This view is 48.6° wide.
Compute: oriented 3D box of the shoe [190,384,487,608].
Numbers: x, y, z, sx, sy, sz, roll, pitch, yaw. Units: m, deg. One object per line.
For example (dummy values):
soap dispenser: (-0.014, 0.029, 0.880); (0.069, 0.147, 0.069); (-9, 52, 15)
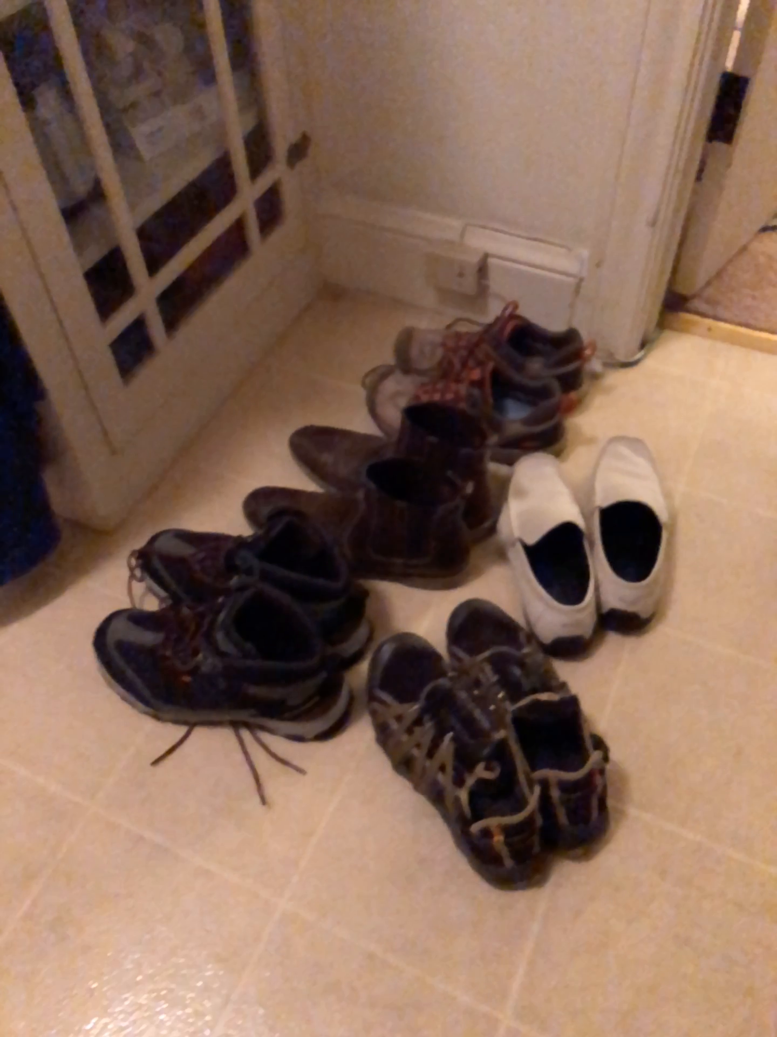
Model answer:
shoe: (-0.054, -0.027, 1.060); (0.323, 0.192, 0.111); (13, 52, 13)

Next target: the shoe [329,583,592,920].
shoe: (0.061, 0.227, 0.878); (0.110, 0.123, 0.294); (-25, 53, -18)

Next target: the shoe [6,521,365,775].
shoe: (-0.201, 0.138, 0.915); (0.323, 0.192, 0.111); (12, 52, 12)

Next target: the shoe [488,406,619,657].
shoe: (0.193, 0.008, 1.062); (0.110, 0.113, 0.305); (-1, 50, 1)

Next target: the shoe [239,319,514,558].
shoe: (-0.015, -0.105, 1.122); (0.323, 0.192, 0.111); (22, 54, 20)

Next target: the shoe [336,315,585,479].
shoe: (0.096, -0.171, 1.190); (0.313, 0.113, 0.111); (16, 52, 15)

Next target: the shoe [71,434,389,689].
shoe: (-0.172, 0.049, 0.997); (0.323, 0.192, 0.111); (17, 53, 16)

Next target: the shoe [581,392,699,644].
shoe: (0.307, -0.009, 1.074); (0.110, 0.113, 0.305); (6, 50, 8)

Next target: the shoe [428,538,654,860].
shoe: (0.146, 0.182, 0.916); (0.110, 0.123, 0.294); (-16, 51, -11)

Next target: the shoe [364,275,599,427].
shoe: (0.132, -0.248, 1.260); (0.313, 0.113, 0.111); (16, 52, 15)
